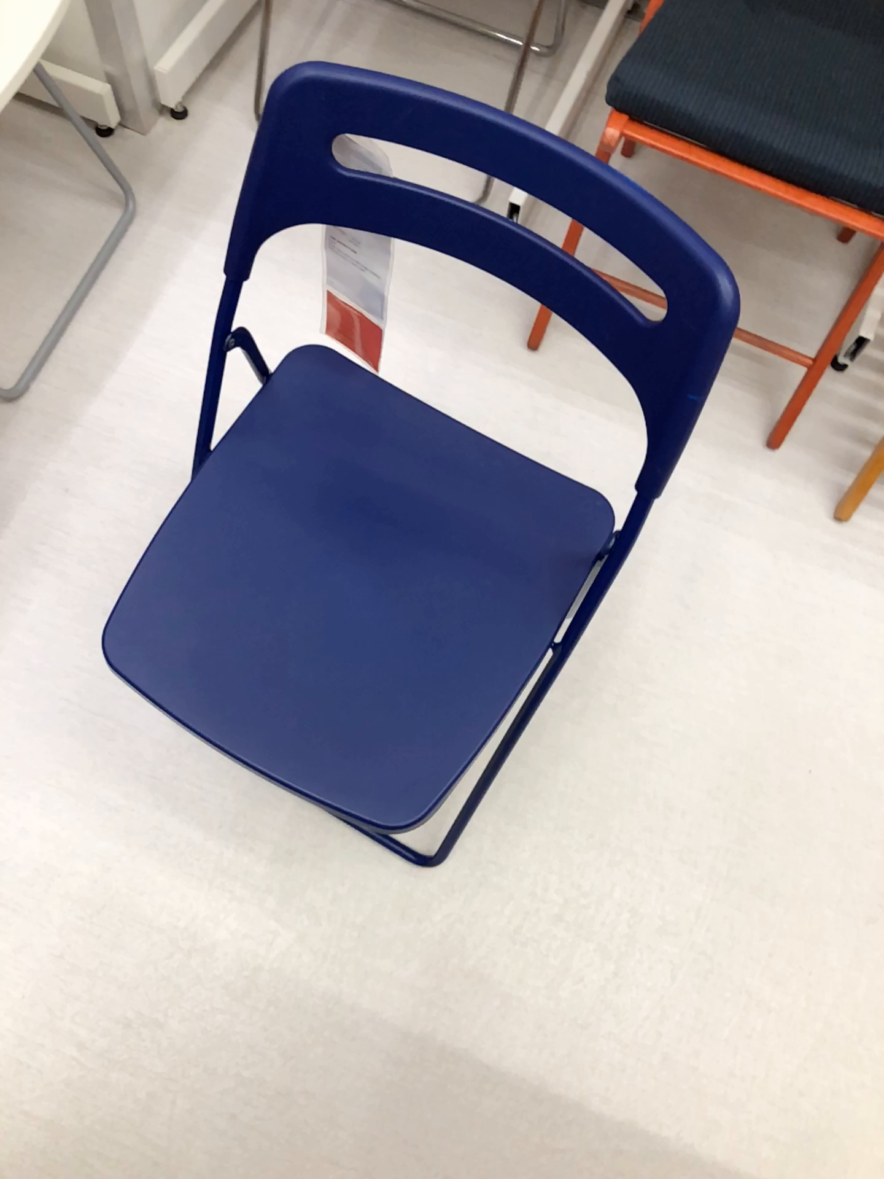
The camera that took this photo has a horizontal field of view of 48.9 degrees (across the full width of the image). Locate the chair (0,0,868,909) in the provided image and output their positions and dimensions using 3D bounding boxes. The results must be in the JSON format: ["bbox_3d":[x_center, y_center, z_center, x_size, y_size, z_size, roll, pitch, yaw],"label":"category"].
[{"bbox_3d":[-0.039,-0.049,0.973,0.460,0.698,0.501,29,69,7],"label":"chair"}]
